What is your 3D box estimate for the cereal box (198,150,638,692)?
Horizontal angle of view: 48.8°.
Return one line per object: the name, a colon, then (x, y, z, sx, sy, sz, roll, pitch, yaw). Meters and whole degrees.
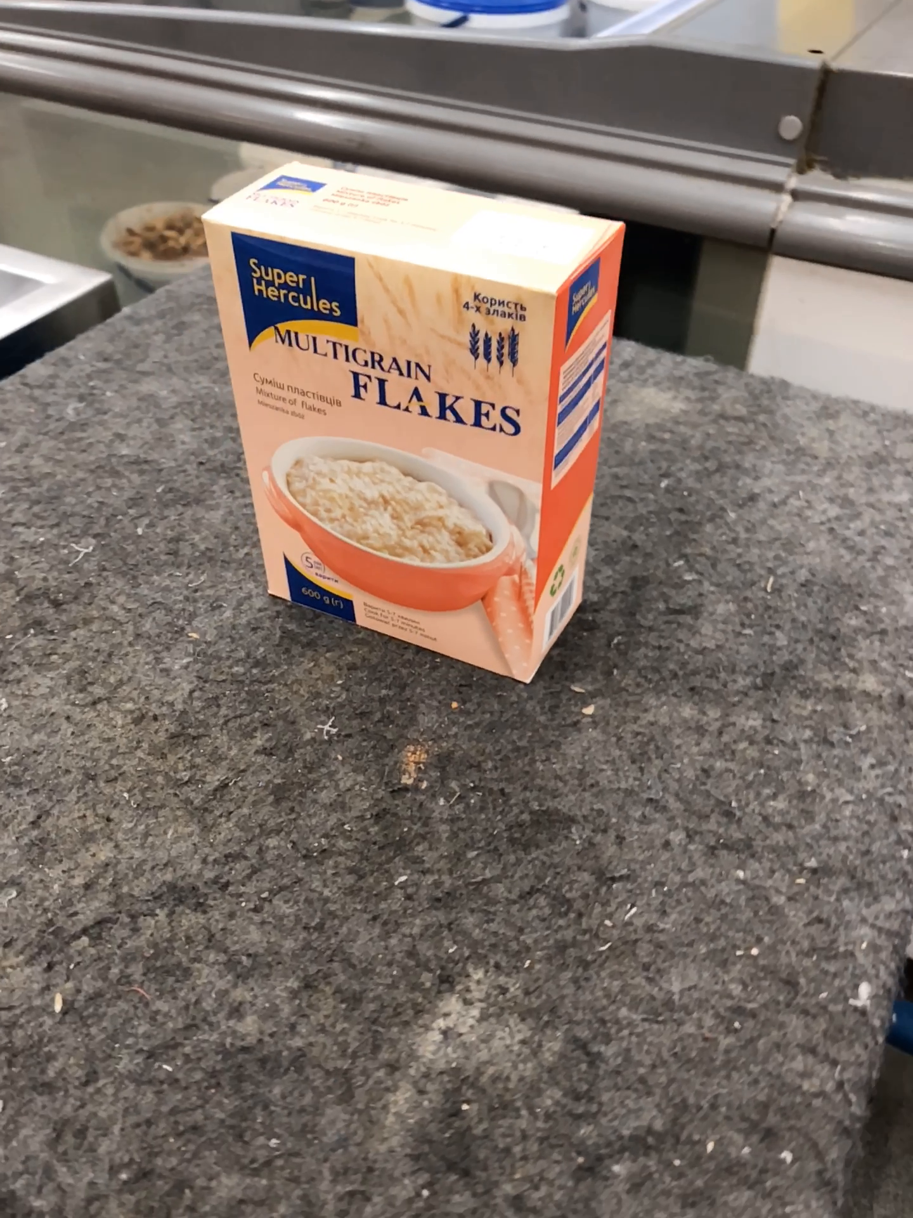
cereal box: (-0.013, -0.078, 0.446, 0.150, 0.199, 0.070, 18, 46, 20)
